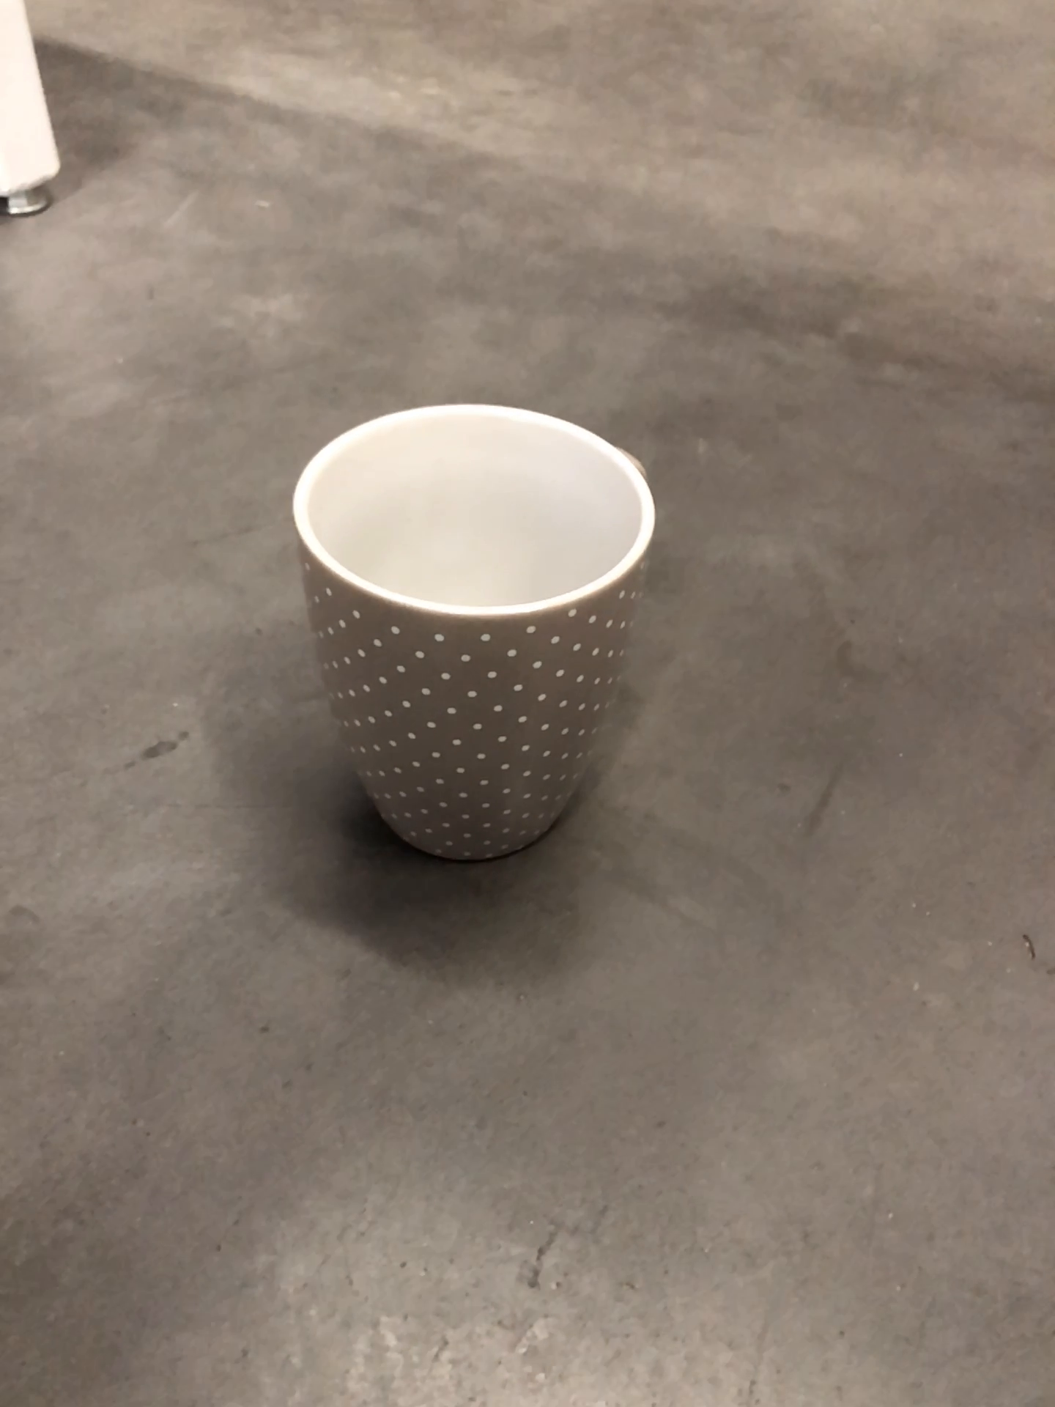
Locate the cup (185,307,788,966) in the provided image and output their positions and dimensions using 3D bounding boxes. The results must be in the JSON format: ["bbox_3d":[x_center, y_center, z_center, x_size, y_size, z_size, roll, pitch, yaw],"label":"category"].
[{"bbox_3d":[-0.006,-0.026,0.339,0.091,0.106,0.142,26,48,22],"label":"cup"}]
